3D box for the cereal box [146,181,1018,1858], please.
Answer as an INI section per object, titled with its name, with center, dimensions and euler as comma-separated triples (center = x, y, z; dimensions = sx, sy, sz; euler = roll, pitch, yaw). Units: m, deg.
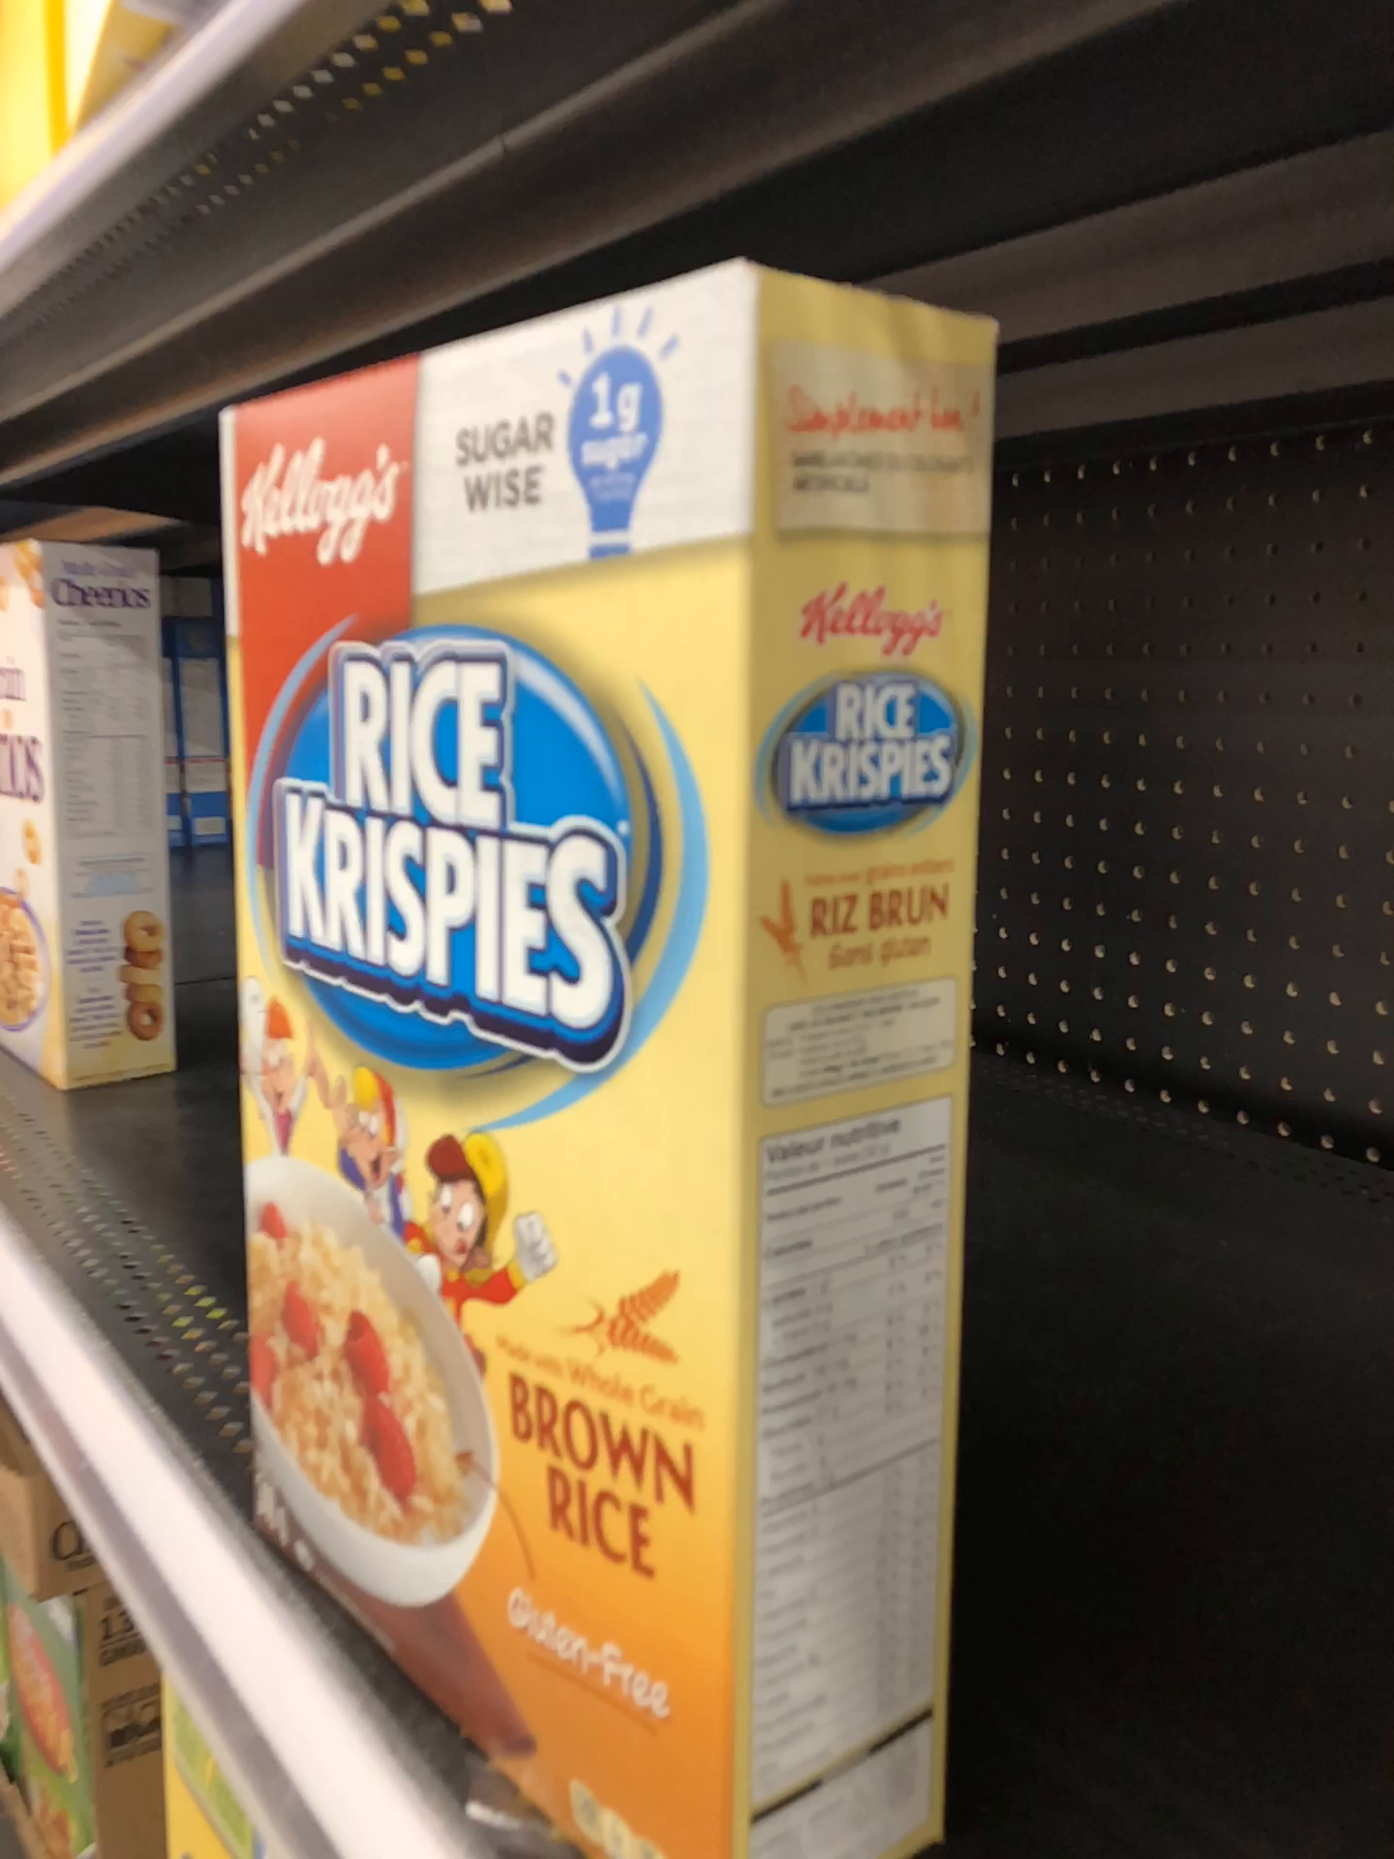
[cereal box]
center = -0.040, 0.026, 0.325
dimensions = 0.060, 0.289, 0.210
euler = -8, 12, -39
